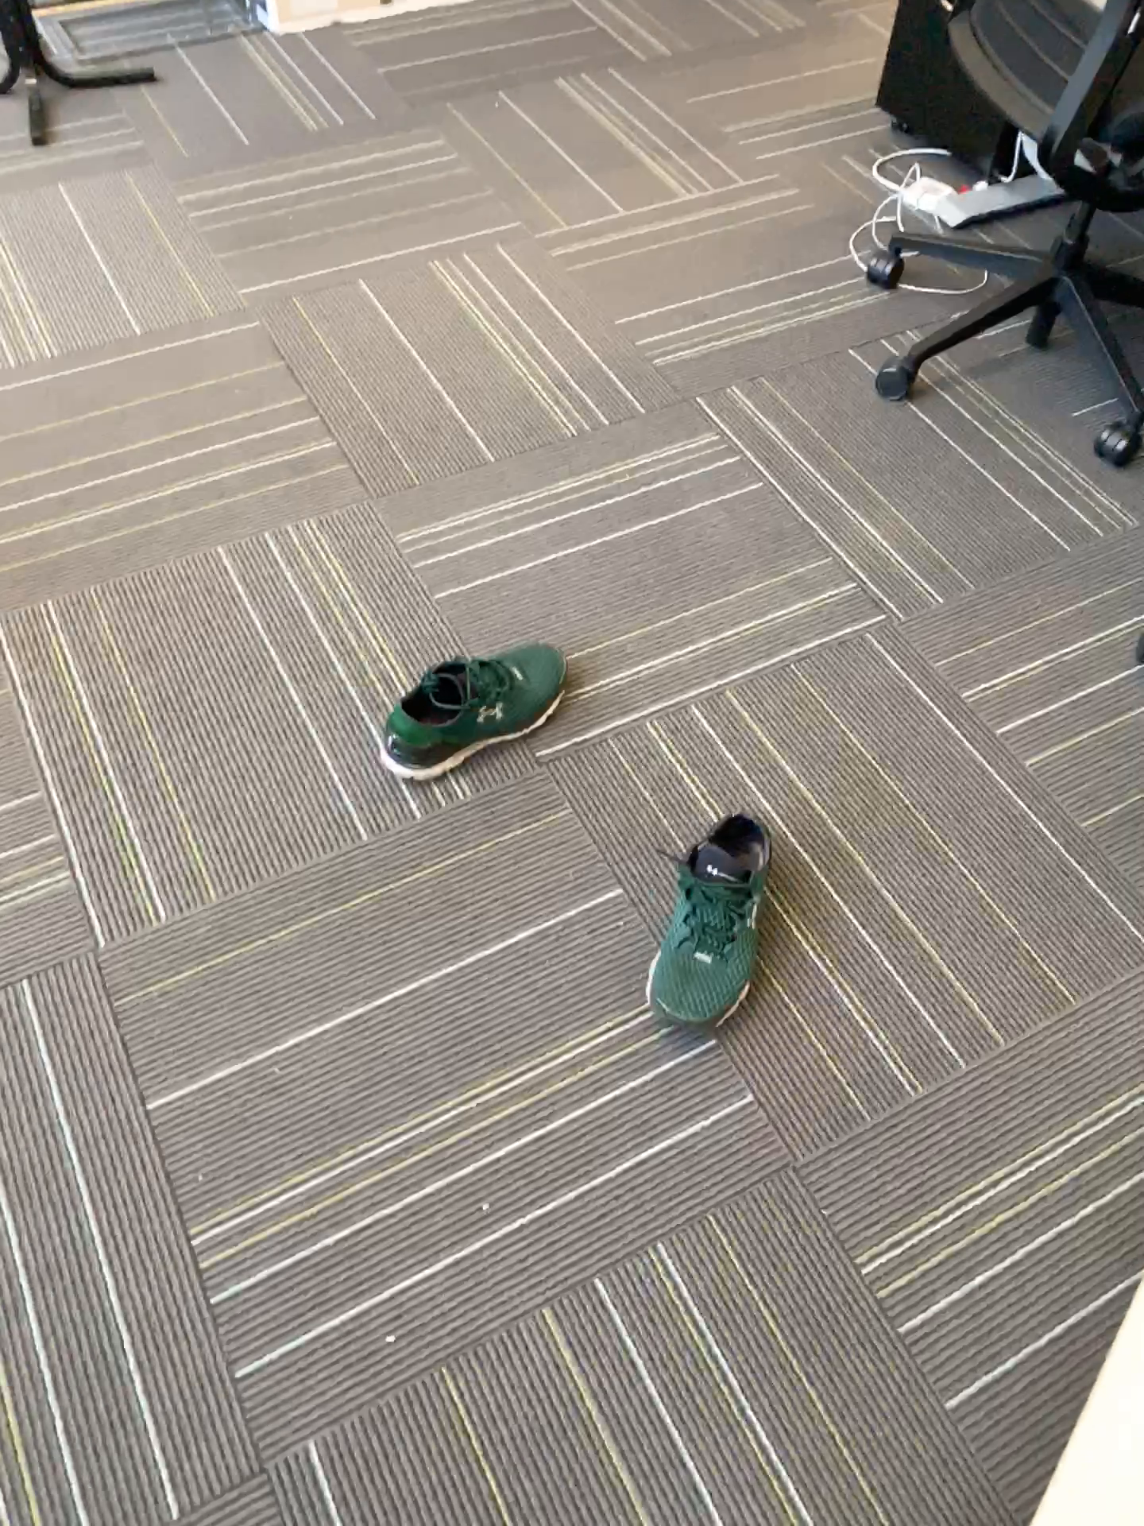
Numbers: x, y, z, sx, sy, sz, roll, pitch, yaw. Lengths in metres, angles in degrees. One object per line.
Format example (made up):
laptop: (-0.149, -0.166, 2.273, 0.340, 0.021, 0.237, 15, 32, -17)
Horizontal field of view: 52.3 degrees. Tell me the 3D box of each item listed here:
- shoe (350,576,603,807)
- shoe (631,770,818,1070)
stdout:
shoe: (-0.124, -0.100, 1.572, 0.310, 0.139, 0.130, -32, 61, -23)
shoe: (0.188, 0.185, 1.421, 0.130, 0.139, 0.311, 18, 55, 10)
